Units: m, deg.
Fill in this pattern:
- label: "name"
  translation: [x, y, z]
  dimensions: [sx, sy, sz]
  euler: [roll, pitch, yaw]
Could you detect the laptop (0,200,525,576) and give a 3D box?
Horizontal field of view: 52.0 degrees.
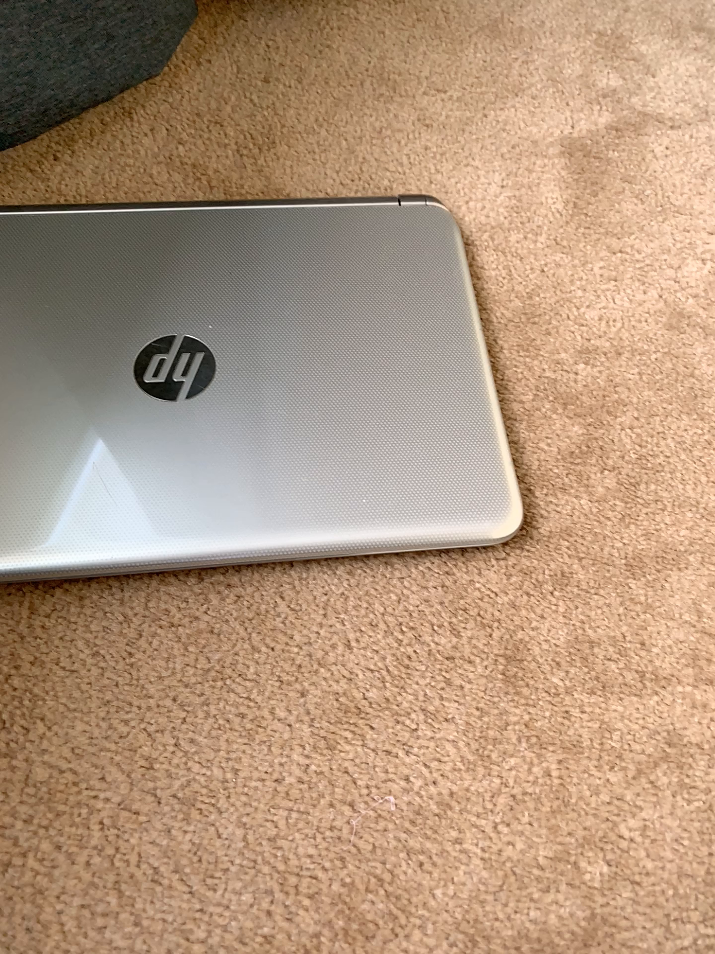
- label: "laptop"
  translation: [-0.096, -0.064, 0.391]
  dimensions: [0.328, 0.002, 0.223]
  euler: [-4, 62, -5]
